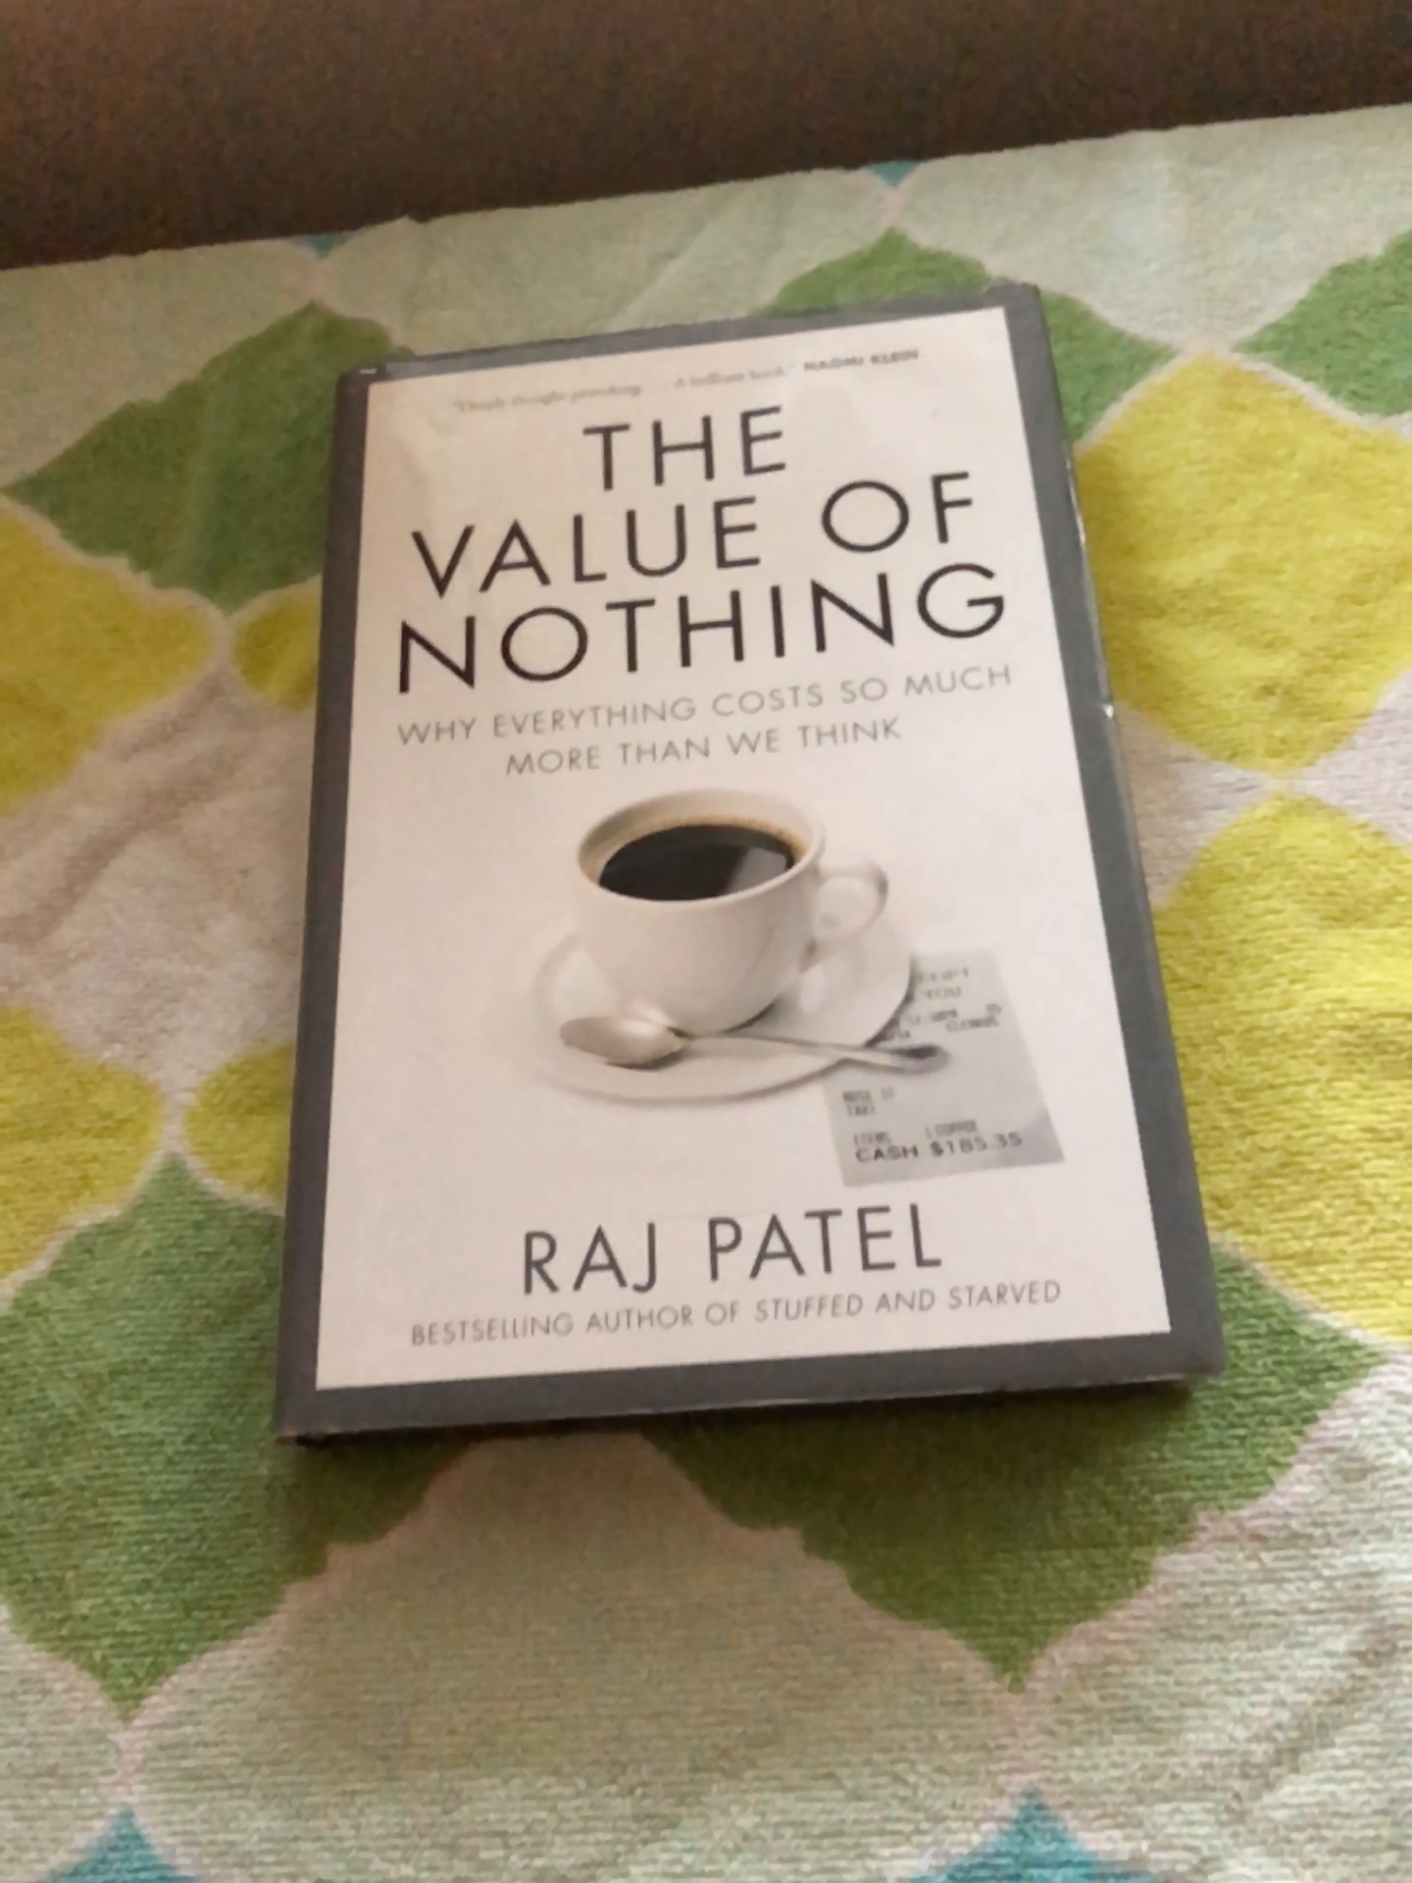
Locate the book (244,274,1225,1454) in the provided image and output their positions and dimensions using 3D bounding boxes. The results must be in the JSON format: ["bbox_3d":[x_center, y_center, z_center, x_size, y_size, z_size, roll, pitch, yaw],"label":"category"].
[{"bbox_3d":[-0.001,-0.022,0.279,0.140,0.030,0.207,-5,65,5],"label":"book"}]
